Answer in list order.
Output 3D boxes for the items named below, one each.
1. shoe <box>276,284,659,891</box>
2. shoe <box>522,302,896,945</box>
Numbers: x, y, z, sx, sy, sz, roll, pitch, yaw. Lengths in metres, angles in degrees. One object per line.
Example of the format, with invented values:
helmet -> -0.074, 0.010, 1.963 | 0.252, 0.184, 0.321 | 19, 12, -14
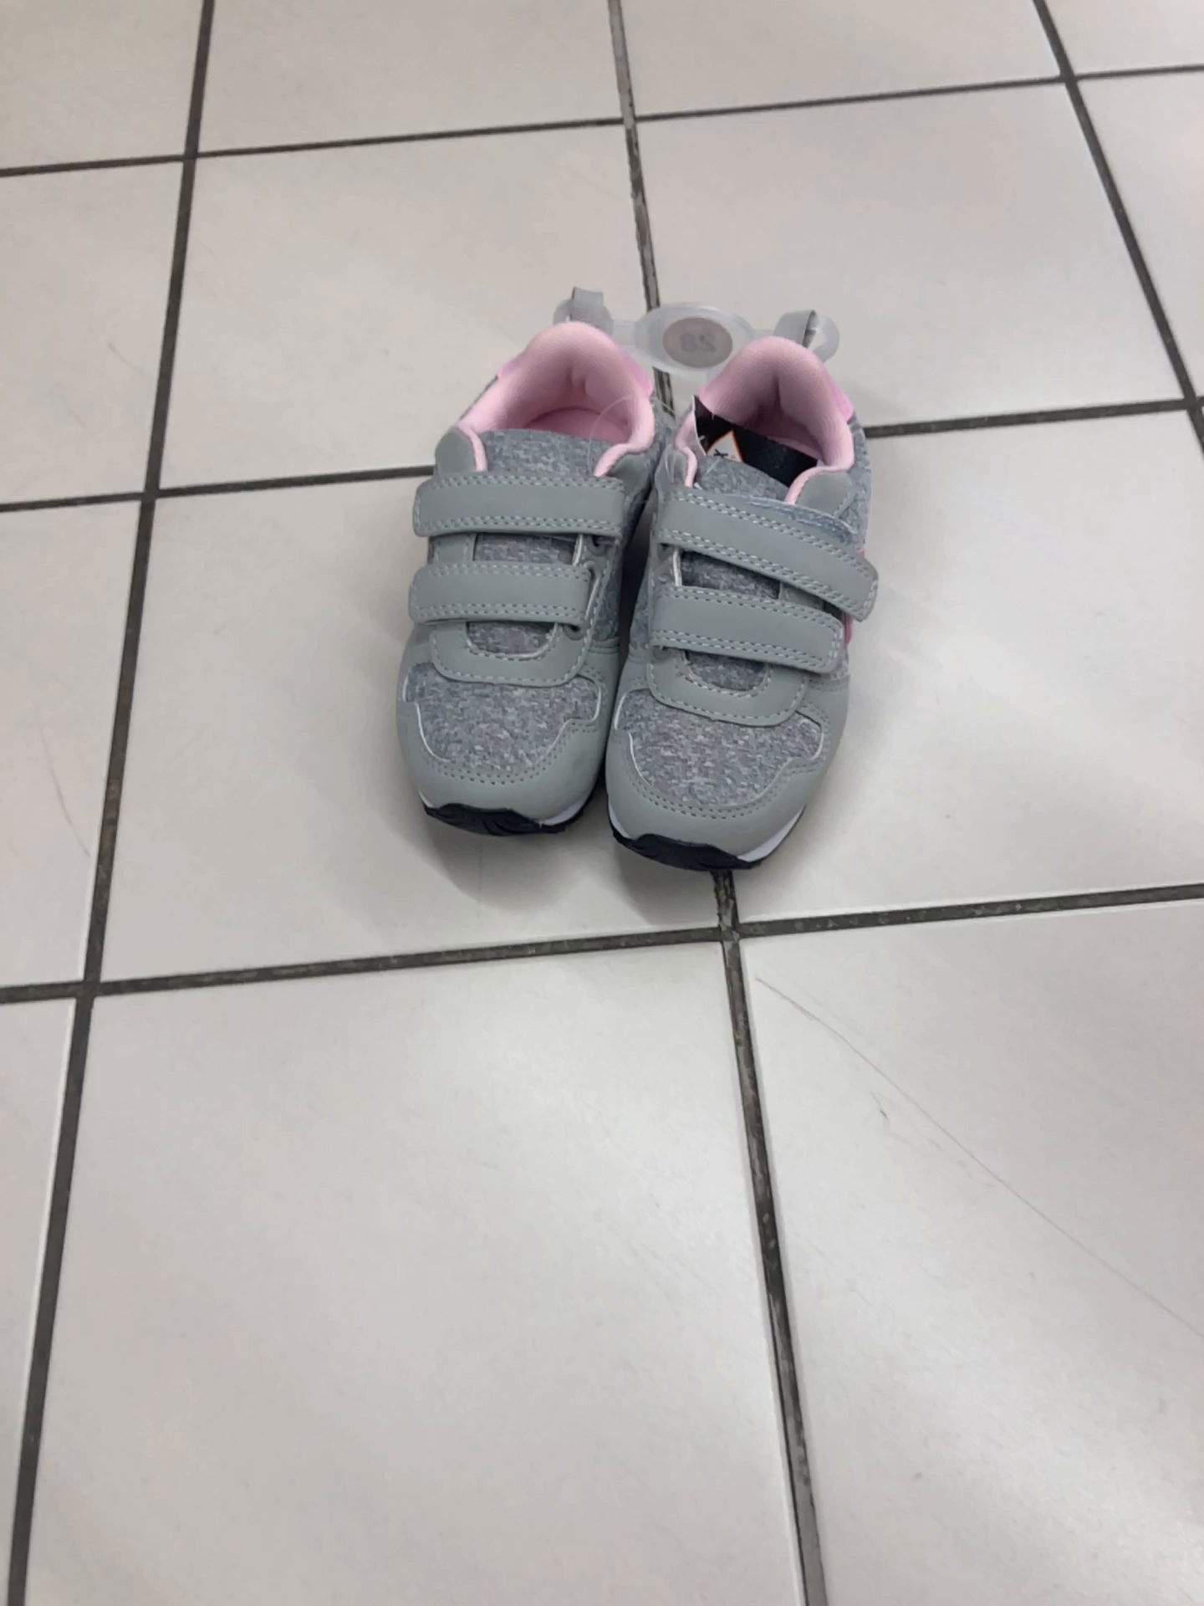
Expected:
shoe -> -0.033, -0.072, 0.423 | 0.080, 0.070, 0.181 | 6, 61, 6
shoe -> 0.038, -0.060, 0.419 | 0.080, 0.080, 0.181 | 9, 62, 8
